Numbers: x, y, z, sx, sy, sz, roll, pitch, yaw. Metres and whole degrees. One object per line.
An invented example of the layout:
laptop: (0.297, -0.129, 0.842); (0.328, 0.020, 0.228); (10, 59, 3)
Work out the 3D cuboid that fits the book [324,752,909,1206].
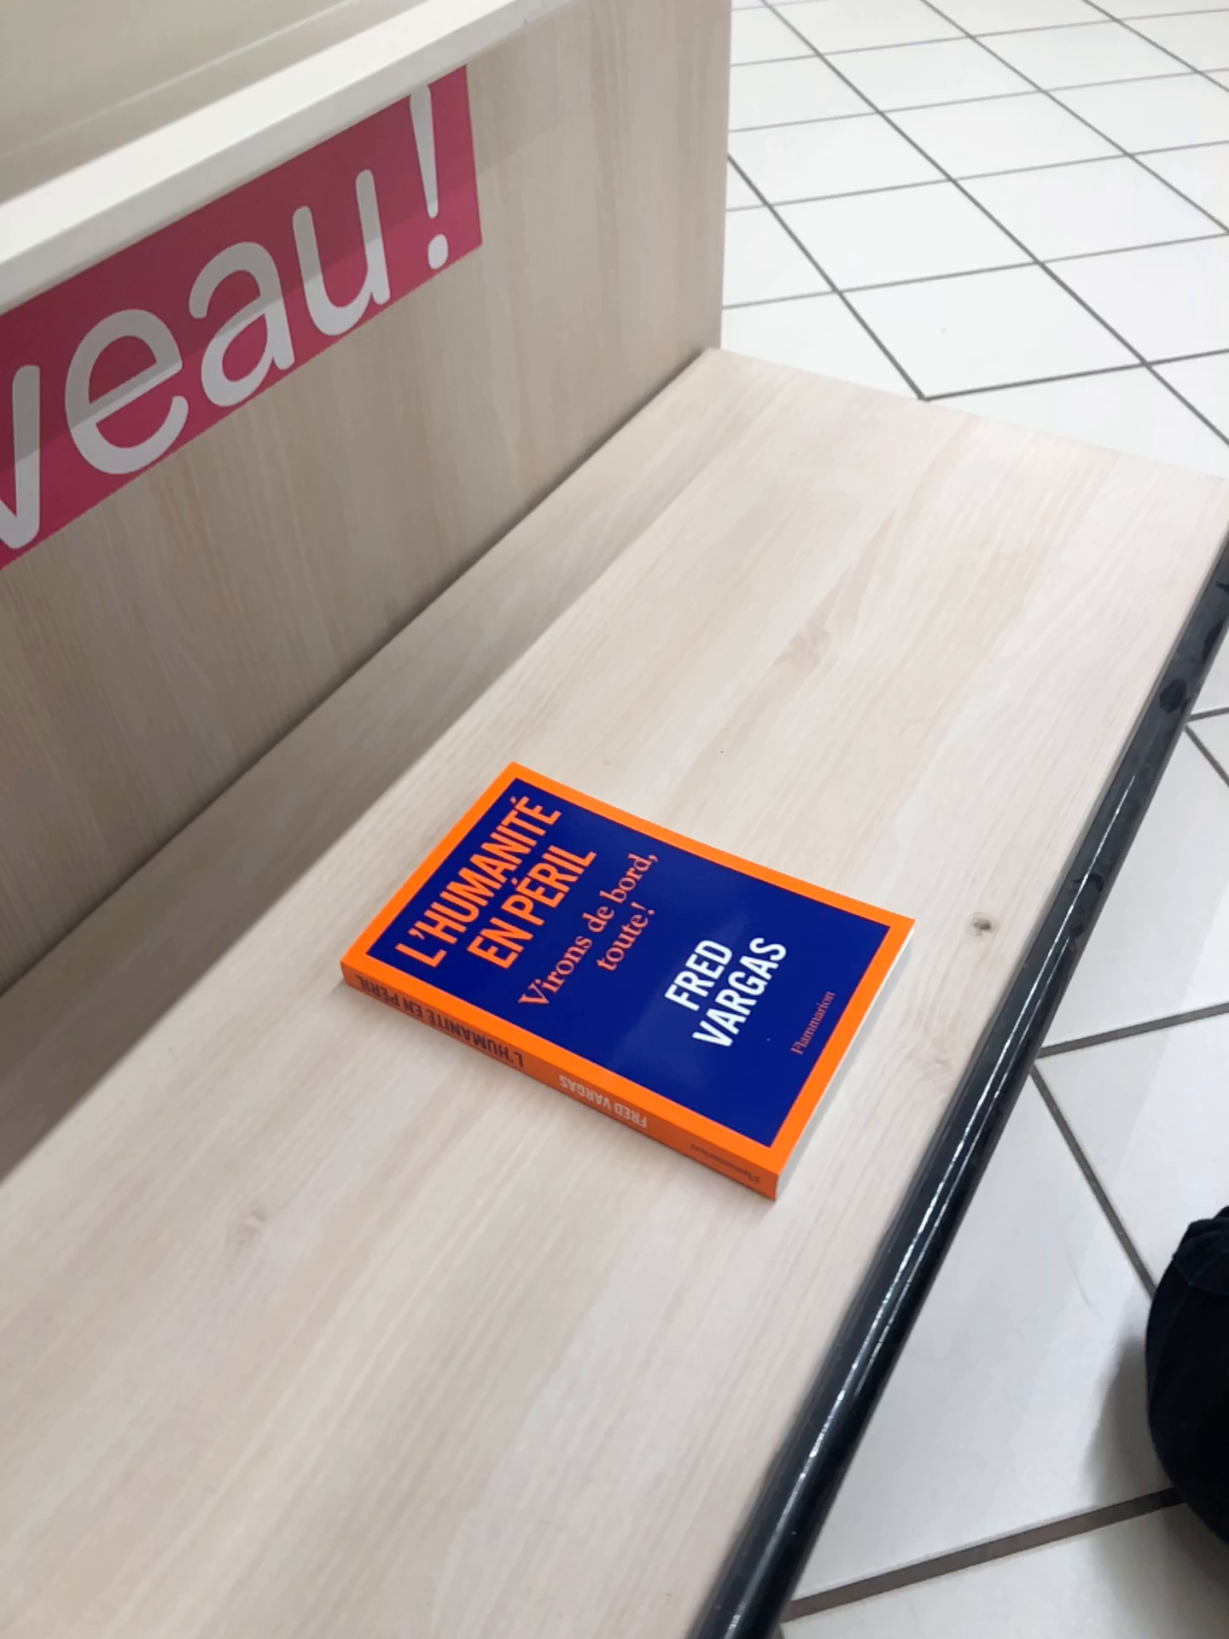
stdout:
book: (0.002, 0.057, 0.584); (0.207, 0.030, 0.138); (22, 50, 22)
